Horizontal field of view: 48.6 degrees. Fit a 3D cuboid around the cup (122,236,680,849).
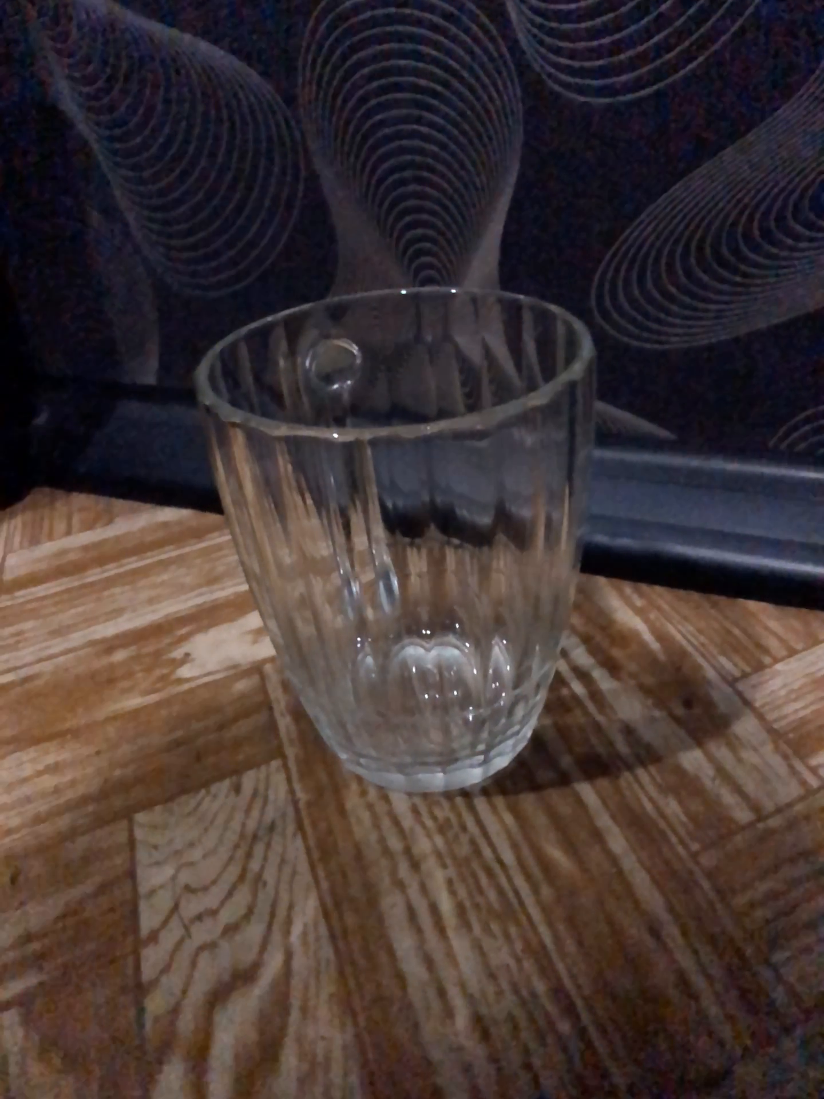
[{"bbox_3d":[-0.010,-0.014,0.263,0.113,0.107,0.126,-14,32,-12],"label":"cup"}]
